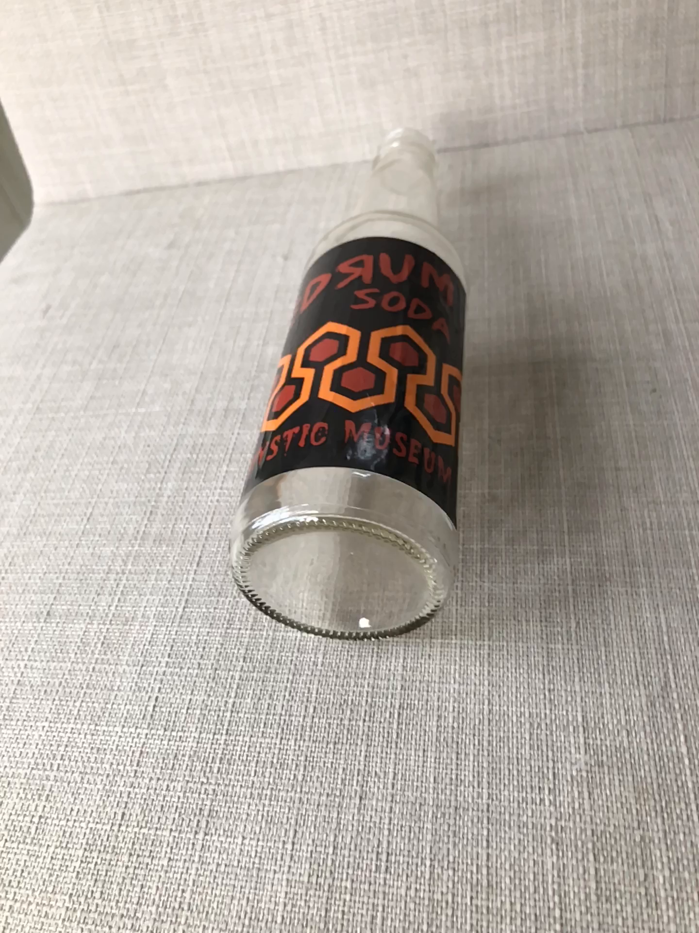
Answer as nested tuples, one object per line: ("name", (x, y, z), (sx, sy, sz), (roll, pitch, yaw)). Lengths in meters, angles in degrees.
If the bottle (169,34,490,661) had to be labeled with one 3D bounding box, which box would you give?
("bottle", (0.012, -0.057, 0.266), (0.062, 0.069, 0.232), (-5, 48, 15))
